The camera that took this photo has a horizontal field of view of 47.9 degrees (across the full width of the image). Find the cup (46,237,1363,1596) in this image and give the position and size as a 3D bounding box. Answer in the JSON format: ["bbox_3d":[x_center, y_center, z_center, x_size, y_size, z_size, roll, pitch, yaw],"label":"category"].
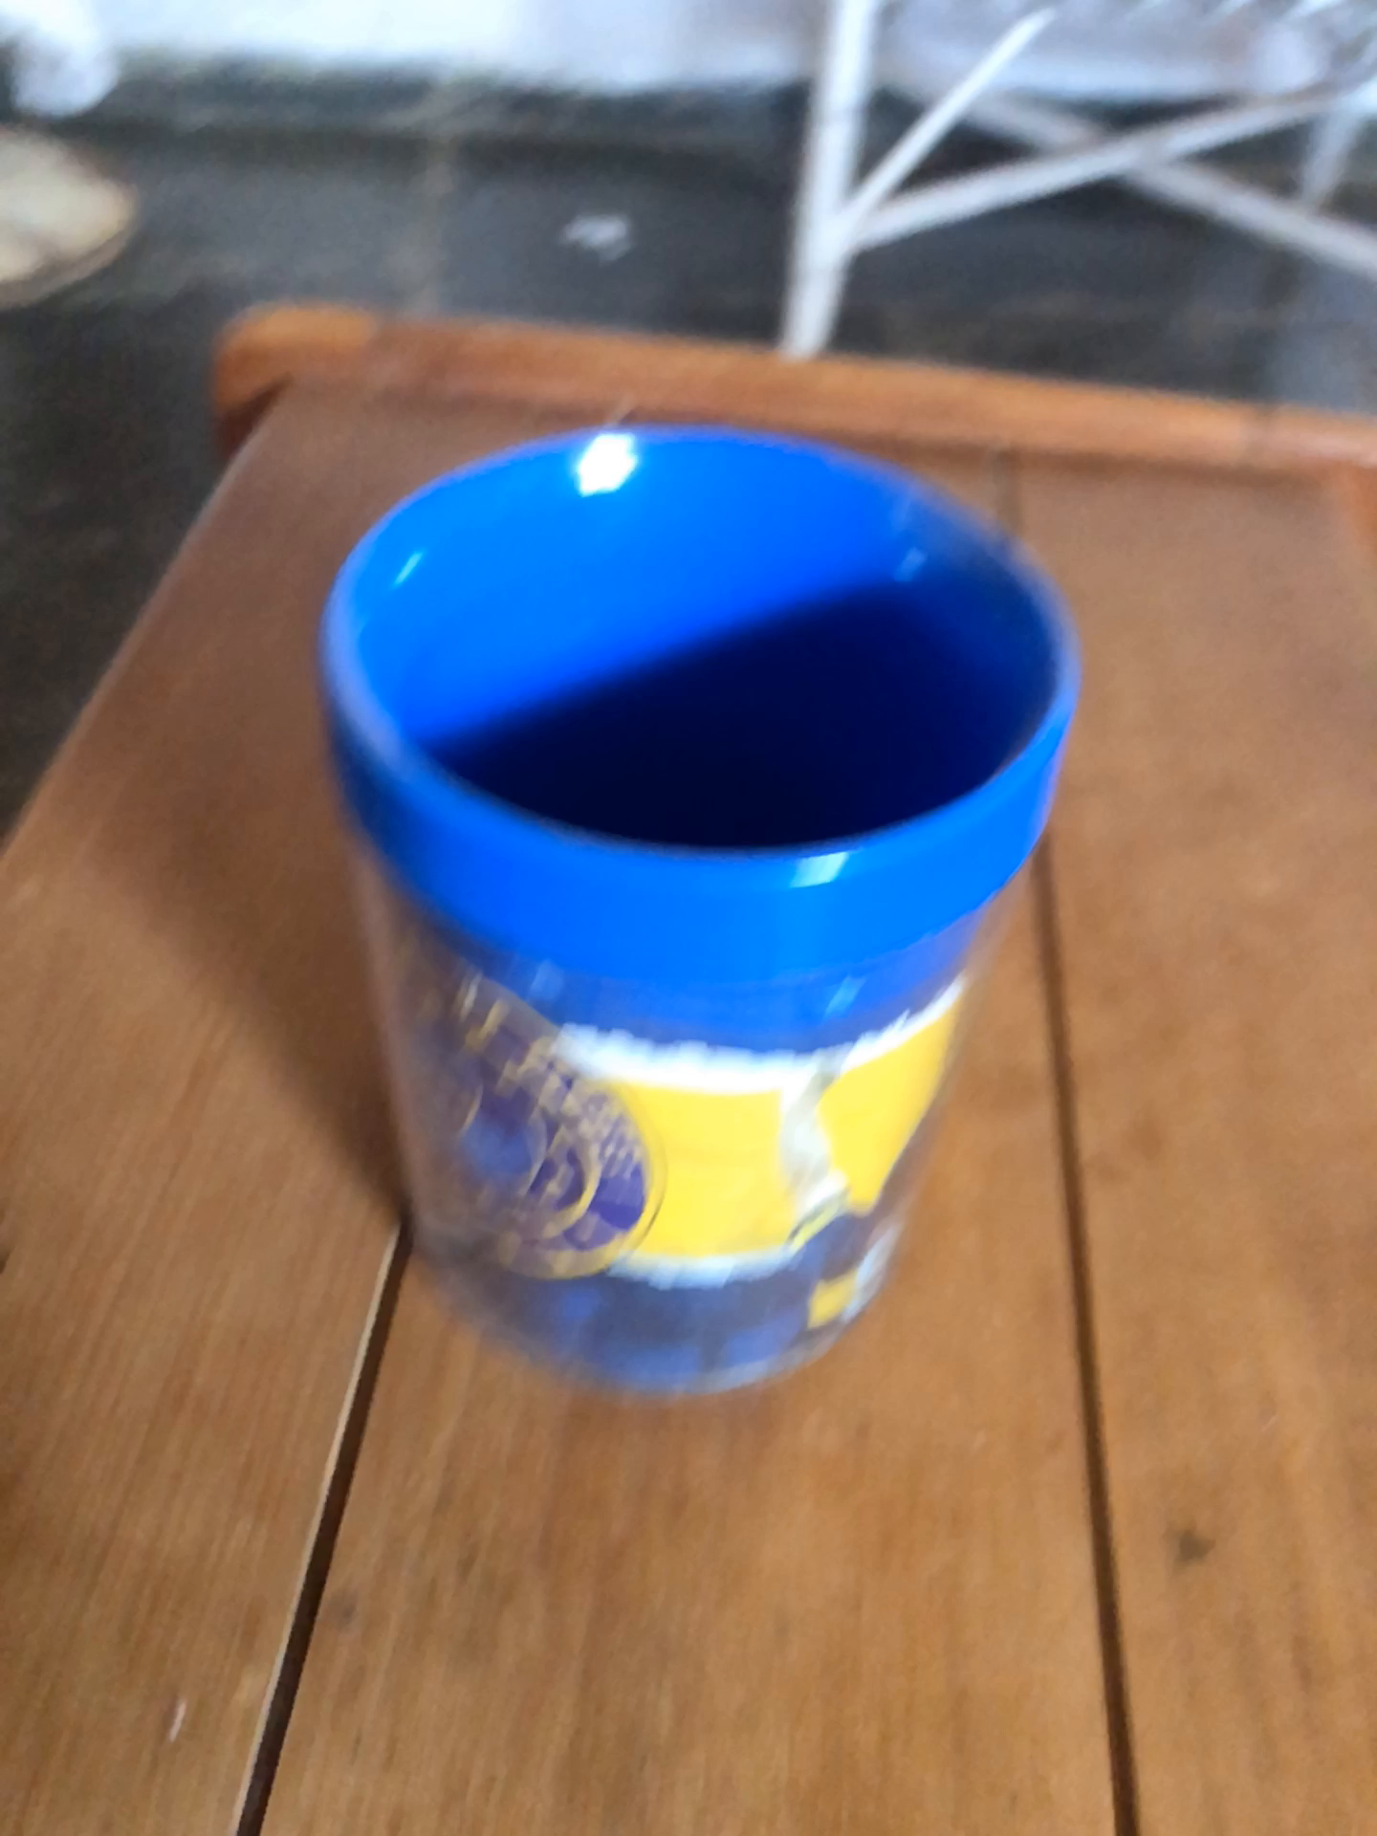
[{"bbox_3d":[0.005,-0.006,0.210,0.090,0.109,0.121,32,51,24],"label":"cup"}]
